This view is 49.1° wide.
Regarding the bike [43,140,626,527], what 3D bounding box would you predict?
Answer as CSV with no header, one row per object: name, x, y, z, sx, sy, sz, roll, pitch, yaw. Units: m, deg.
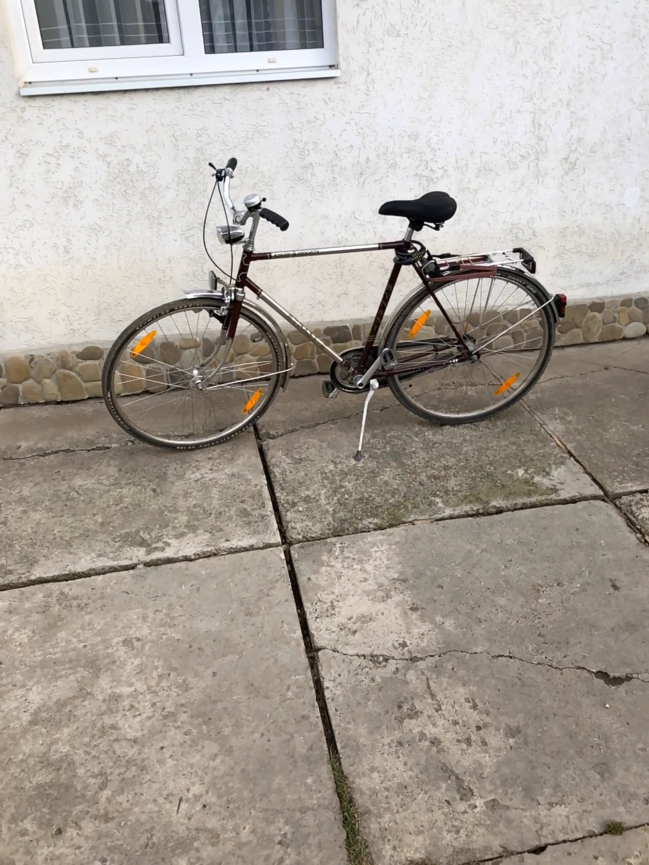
bike,0.061,-0.391,2.558,1.710,1.054,0.600,-7,29,-8
